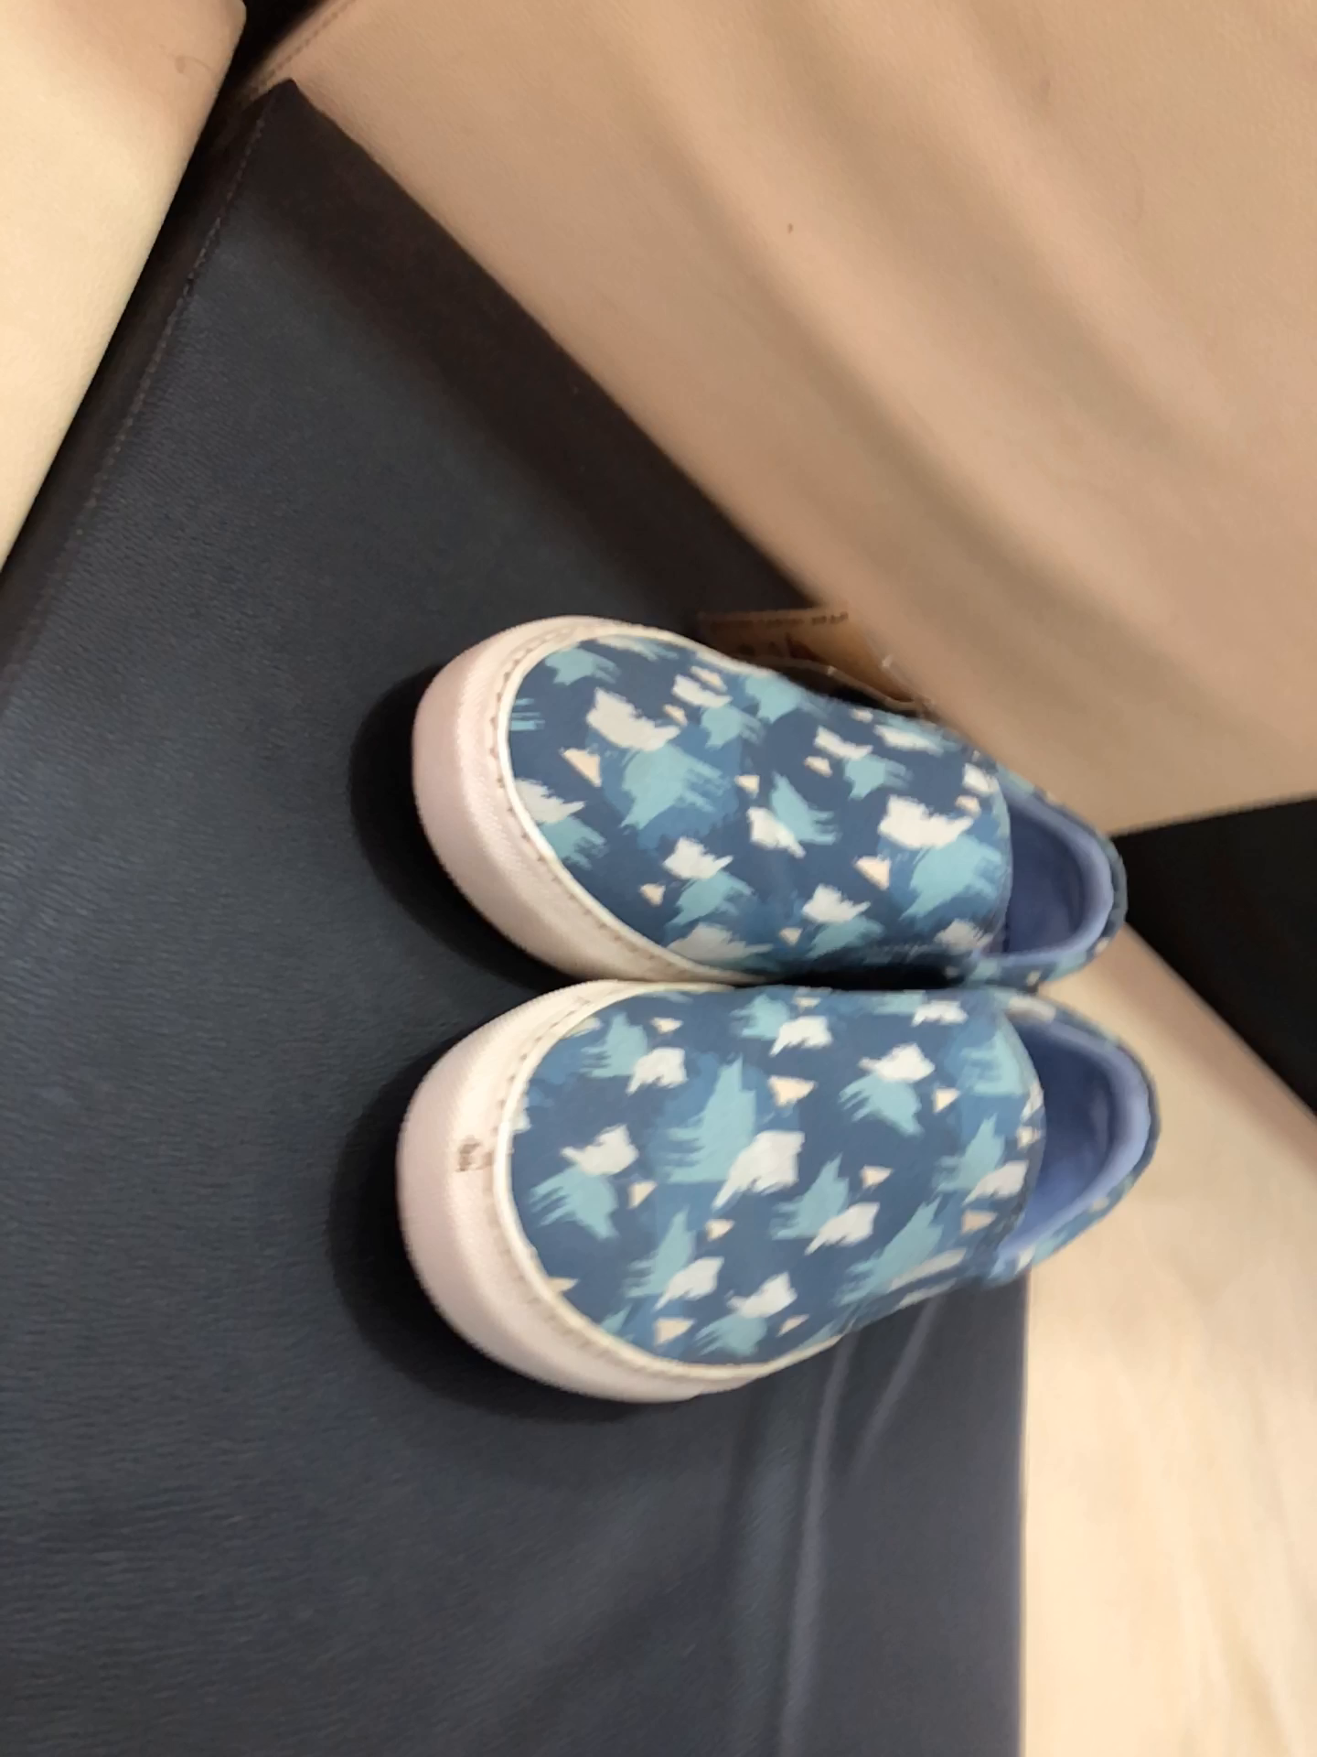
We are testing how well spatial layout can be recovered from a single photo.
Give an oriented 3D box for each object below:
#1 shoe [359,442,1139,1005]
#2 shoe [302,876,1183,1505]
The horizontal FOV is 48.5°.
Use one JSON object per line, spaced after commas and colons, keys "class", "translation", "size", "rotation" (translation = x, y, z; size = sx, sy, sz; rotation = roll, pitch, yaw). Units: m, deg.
{"class": "shoe", "translation": [0.049, -0.026, 0.425], "size": [0.282, 0.060, 0.110], "rotation": [3, 76, -51]}
{"class": "shoe", "translation": [0.046, 0.072, 0.419], "size": [0.282, 0.089, 0.120], "rotation": [3, 76, -51]}
